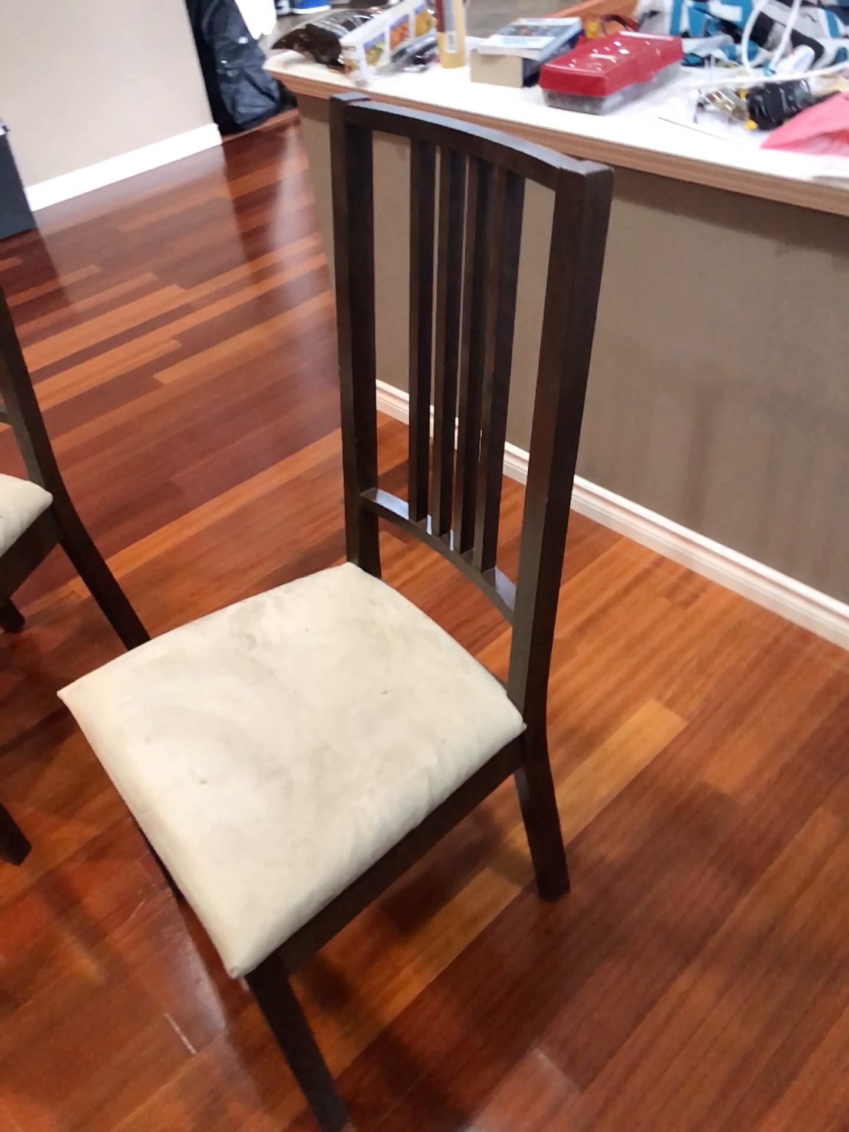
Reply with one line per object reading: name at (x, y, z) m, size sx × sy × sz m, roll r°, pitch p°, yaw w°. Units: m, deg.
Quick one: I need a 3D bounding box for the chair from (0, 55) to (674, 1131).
chair at (-0.130, 0.116, 1.019) m, size 0.511 × 1.052 × 0.493 m, roll -30°, pitch 46°, yaw -23°
